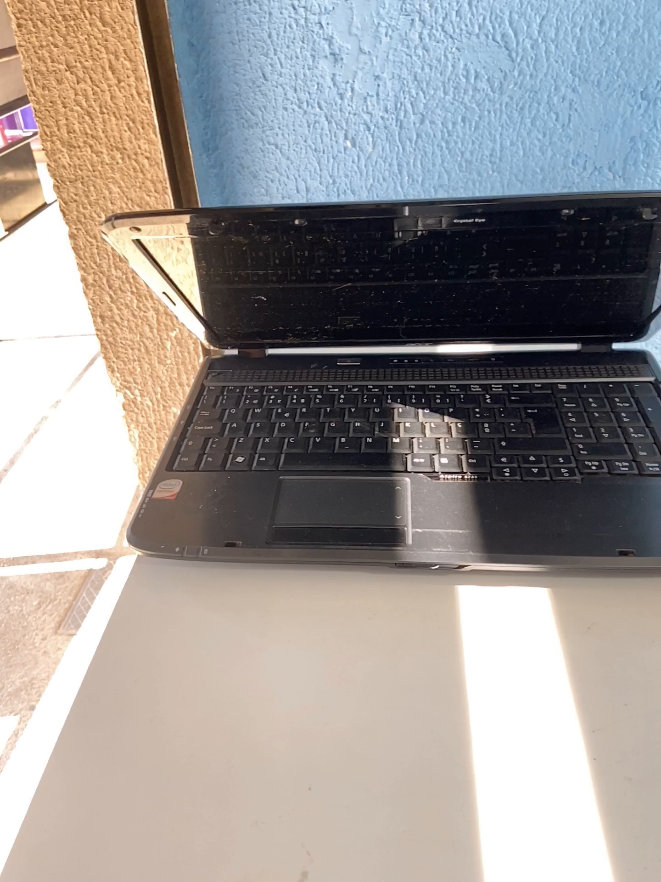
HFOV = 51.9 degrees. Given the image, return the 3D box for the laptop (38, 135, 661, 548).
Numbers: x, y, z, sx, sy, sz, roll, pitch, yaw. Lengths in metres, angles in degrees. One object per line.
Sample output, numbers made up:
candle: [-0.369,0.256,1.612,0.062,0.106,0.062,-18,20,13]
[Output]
laptop: [0.065,-0.077,0.454,0.378,0.174,0.237,0,35,5]
